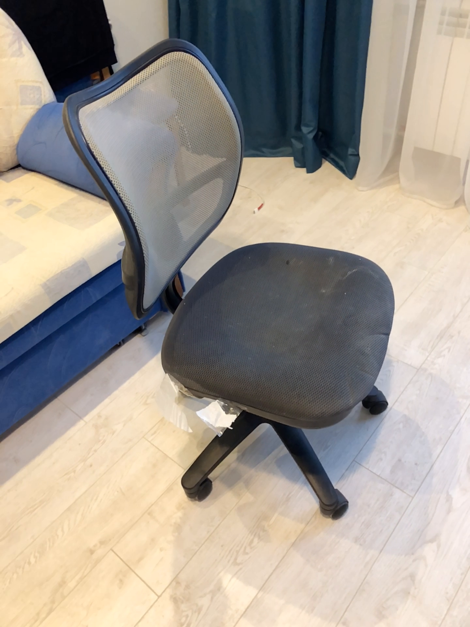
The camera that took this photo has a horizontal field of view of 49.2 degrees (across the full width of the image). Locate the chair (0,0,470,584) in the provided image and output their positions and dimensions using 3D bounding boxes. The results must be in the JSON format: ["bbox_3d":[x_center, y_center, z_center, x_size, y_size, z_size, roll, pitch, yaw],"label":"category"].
[{"bbox_3d":[0.080,-0.067,0.956,0.511,0.735,0.664,16,48,22],"label":"chair"}]
